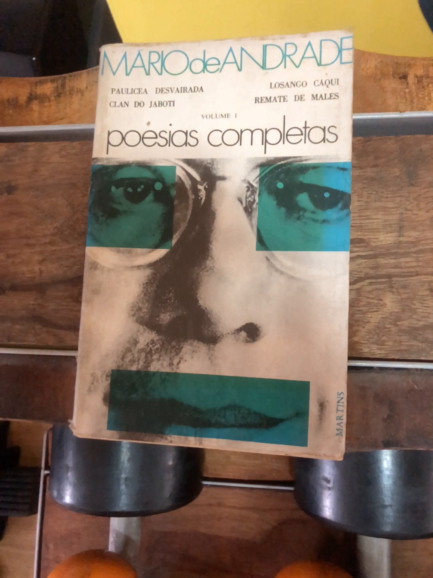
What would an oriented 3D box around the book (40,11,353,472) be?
[{"bbox_3d":[-0.009,-0.027,0.237,0.140,0.020,0.209,2,86,9],"label":"book"}]
